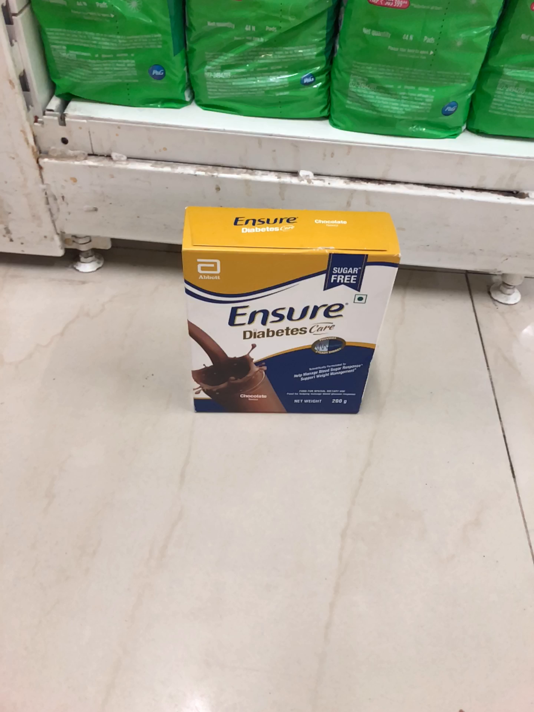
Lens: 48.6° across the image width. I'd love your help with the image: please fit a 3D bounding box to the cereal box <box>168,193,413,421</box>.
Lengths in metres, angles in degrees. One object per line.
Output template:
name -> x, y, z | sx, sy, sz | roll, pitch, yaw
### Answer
cereal box -> 0.011, -0.025, 0.417 | 0.140, 0.169, 0.050 | 1, 49, -2
